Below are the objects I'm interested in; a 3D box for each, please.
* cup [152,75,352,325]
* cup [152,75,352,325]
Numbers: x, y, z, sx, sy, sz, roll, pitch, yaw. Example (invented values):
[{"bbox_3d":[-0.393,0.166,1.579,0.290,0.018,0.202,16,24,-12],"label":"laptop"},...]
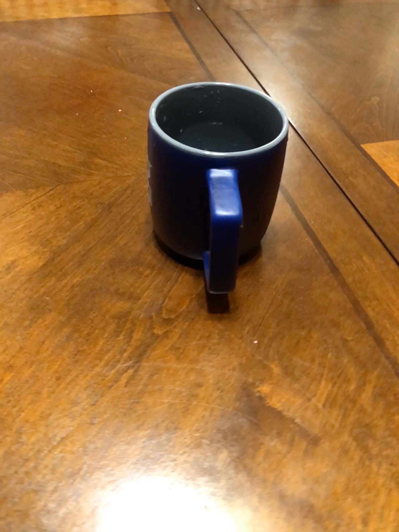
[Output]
[{"bbox_3d":[0.020,-0.048,0.301,0.100,0.099,0.141,-1,49,-5],"label":"cup"},{"bbox_3d":[0.020,-0.048,0.301,0.100,0.099,0.141,-1,49,-5],"label":"cup"}]
